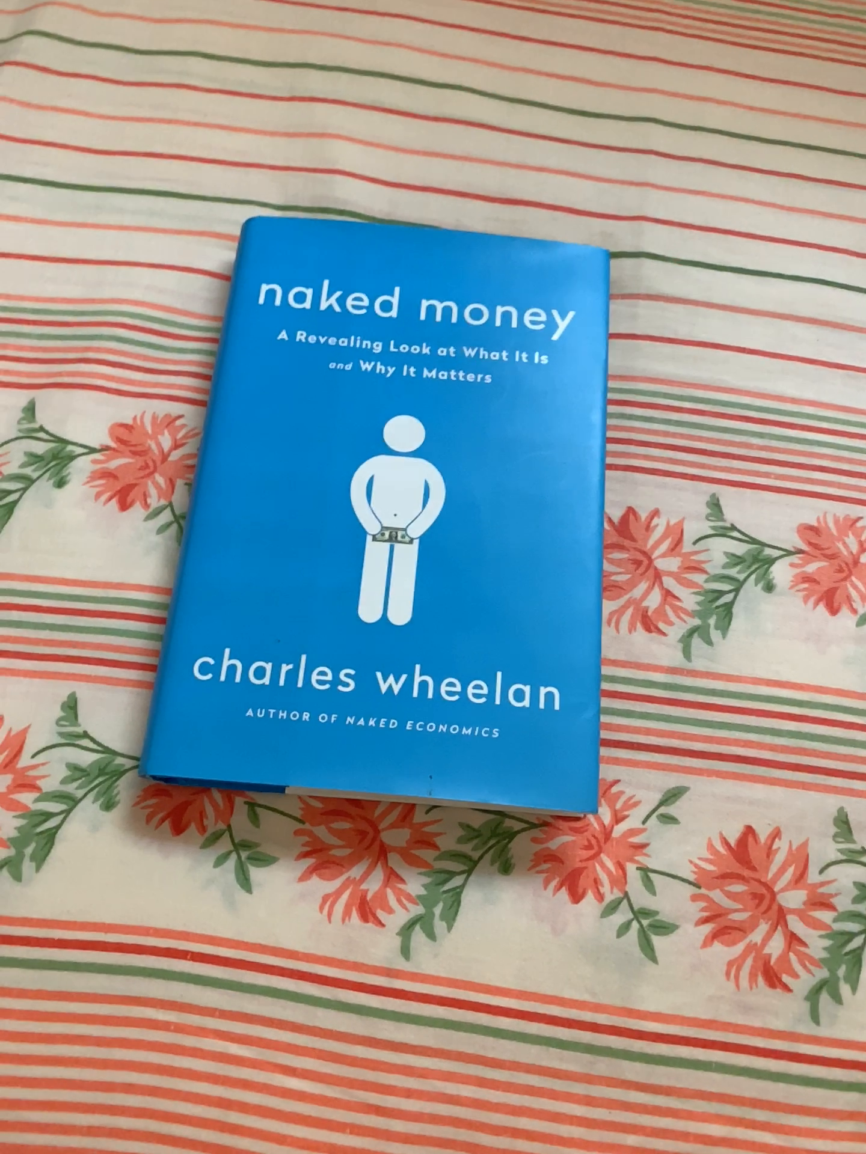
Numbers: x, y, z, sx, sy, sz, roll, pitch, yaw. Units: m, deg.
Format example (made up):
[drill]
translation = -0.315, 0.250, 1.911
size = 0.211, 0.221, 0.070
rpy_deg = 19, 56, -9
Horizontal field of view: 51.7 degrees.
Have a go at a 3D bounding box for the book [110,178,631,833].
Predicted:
[book]
translation = -0.011, -0.037, 0.354
size = 0.170, 0.040, 0.251
rpy_deg = 5, 69, -2
